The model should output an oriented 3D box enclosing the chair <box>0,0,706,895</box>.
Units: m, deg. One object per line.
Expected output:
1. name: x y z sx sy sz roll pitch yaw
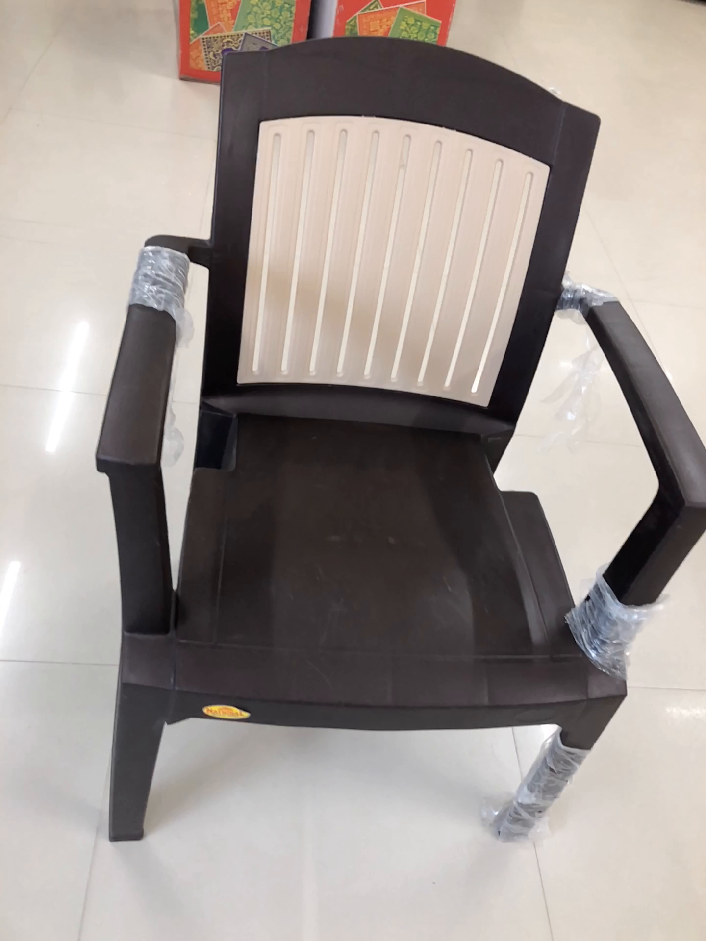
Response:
1. chair: 0.064 -0.047 0.774 0.601 0.556 0.654 1 46 -12
